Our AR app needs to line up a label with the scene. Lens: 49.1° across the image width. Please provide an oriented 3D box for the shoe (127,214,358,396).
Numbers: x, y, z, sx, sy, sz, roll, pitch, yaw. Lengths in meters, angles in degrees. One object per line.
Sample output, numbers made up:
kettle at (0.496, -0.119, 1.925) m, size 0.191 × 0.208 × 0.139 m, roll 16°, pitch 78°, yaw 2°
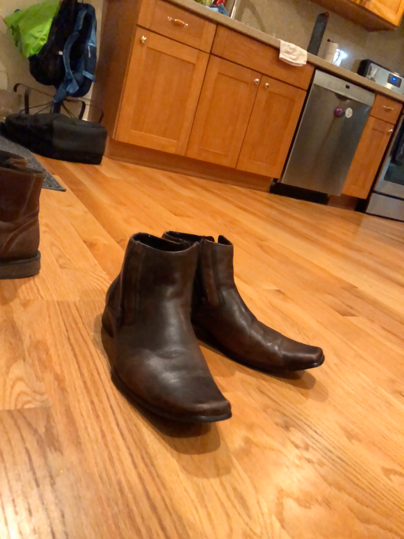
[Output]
shoe at (0.055, 0.037, 0.673) m, size 0.300 × 0.152 × 0.109 m, roll 22°, pitch 17°, yaw 20°

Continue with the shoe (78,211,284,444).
shoe at (-0.051, 0.045, 0.537) m, size 0.109 × 0.143 × 0.291 m, roll 6°, pitch 19°, yaw -31°
